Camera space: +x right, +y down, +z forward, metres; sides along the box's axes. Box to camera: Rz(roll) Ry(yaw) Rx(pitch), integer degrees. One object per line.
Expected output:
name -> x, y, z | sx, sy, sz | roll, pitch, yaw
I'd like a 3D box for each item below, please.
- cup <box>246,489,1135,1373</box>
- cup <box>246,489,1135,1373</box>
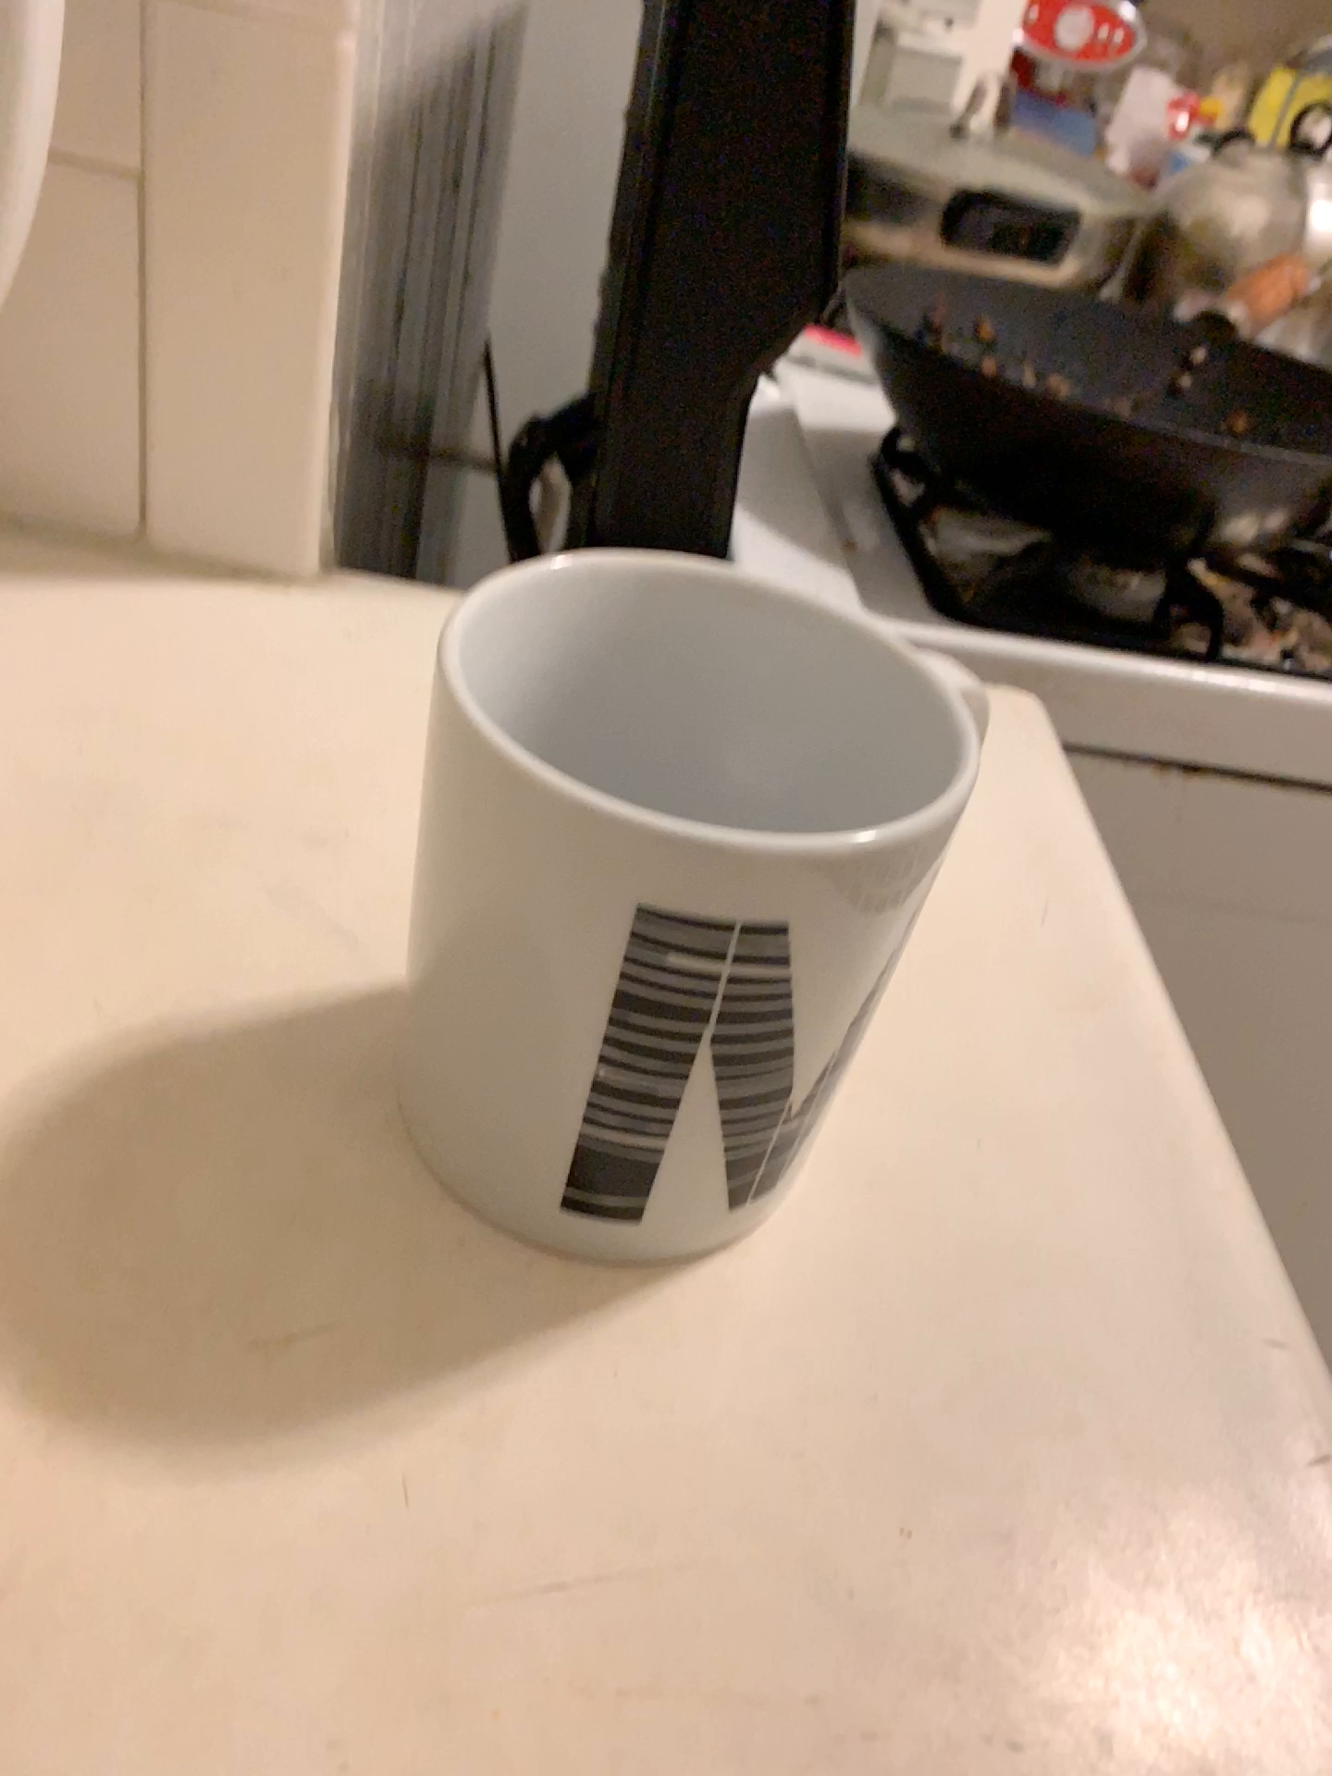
cup -> 0.000, -0.002, 0.284 | 0.130, 0.109, 0.100 | -23, 50, -40
cup -> 0.000, -0.002, 0.284 | 0.130, 0.109, 0.100 | -23, 50, -40
